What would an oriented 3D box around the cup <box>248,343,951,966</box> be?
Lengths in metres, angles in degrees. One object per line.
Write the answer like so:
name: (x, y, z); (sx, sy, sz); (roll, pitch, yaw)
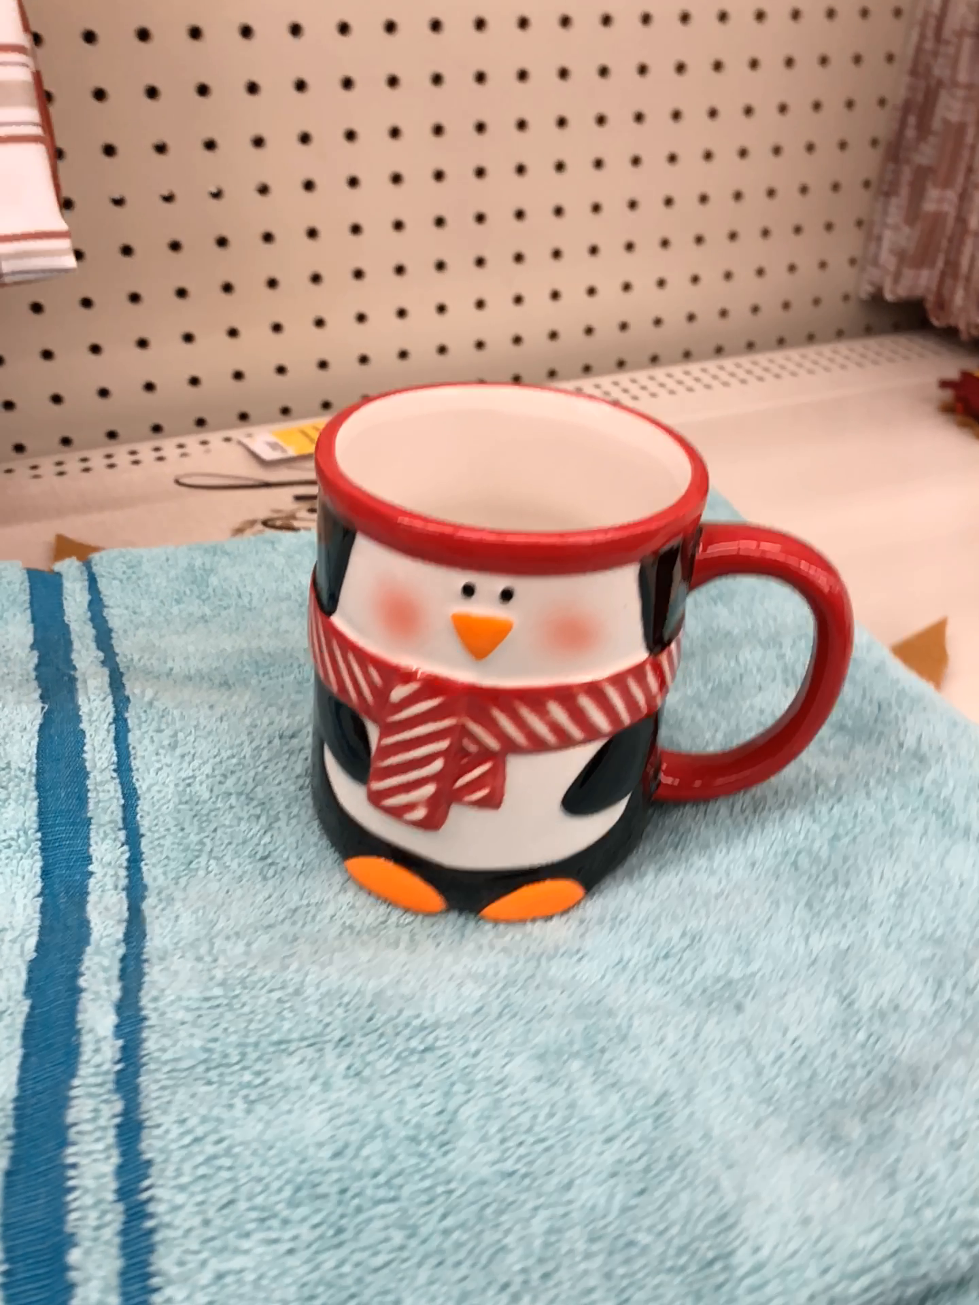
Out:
cup: (0.020, -0.003, 0.269); (0.130, 0.110, 0.090); (6, 32, 2)
